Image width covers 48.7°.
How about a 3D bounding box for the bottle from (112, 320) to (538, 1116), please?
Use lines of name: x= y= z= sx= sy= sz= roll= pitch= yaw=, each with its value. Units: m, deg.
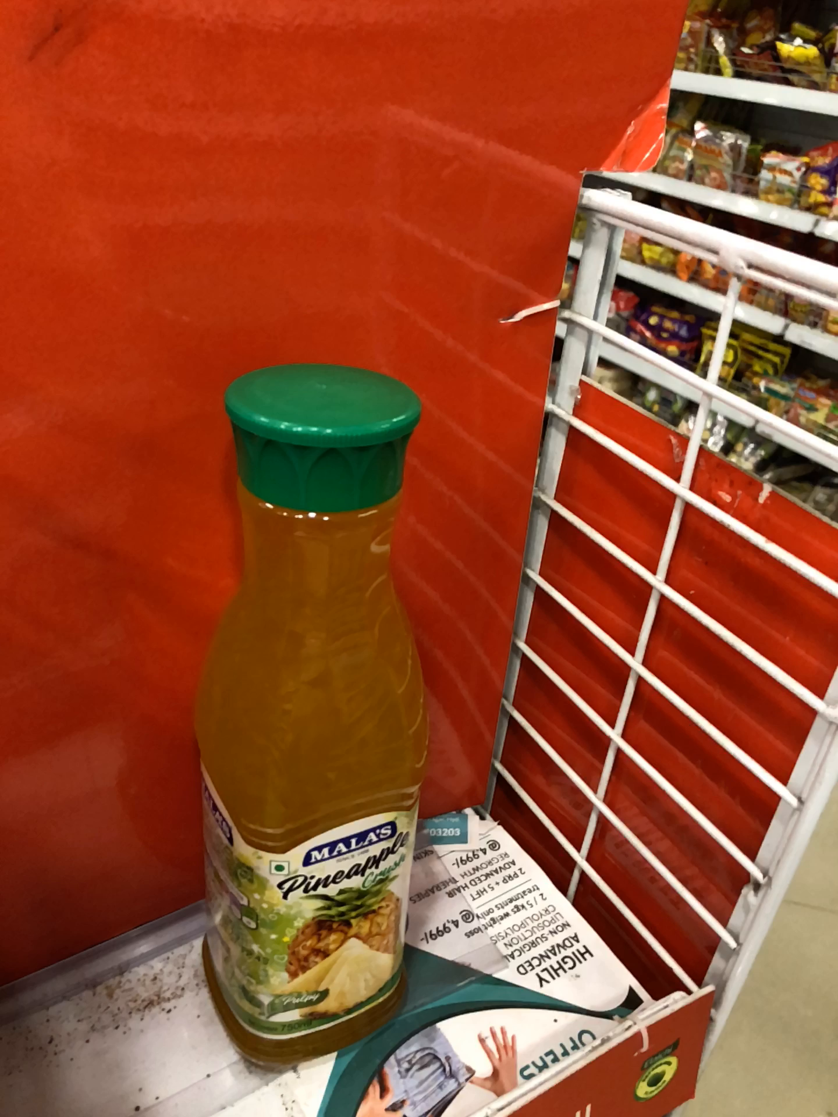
bottle: x=-0.037 y=0.062 z=0.307 sx=0.090 sy=0.258 sz=0.070 roll=-11 pitch=35 yaw=-26
